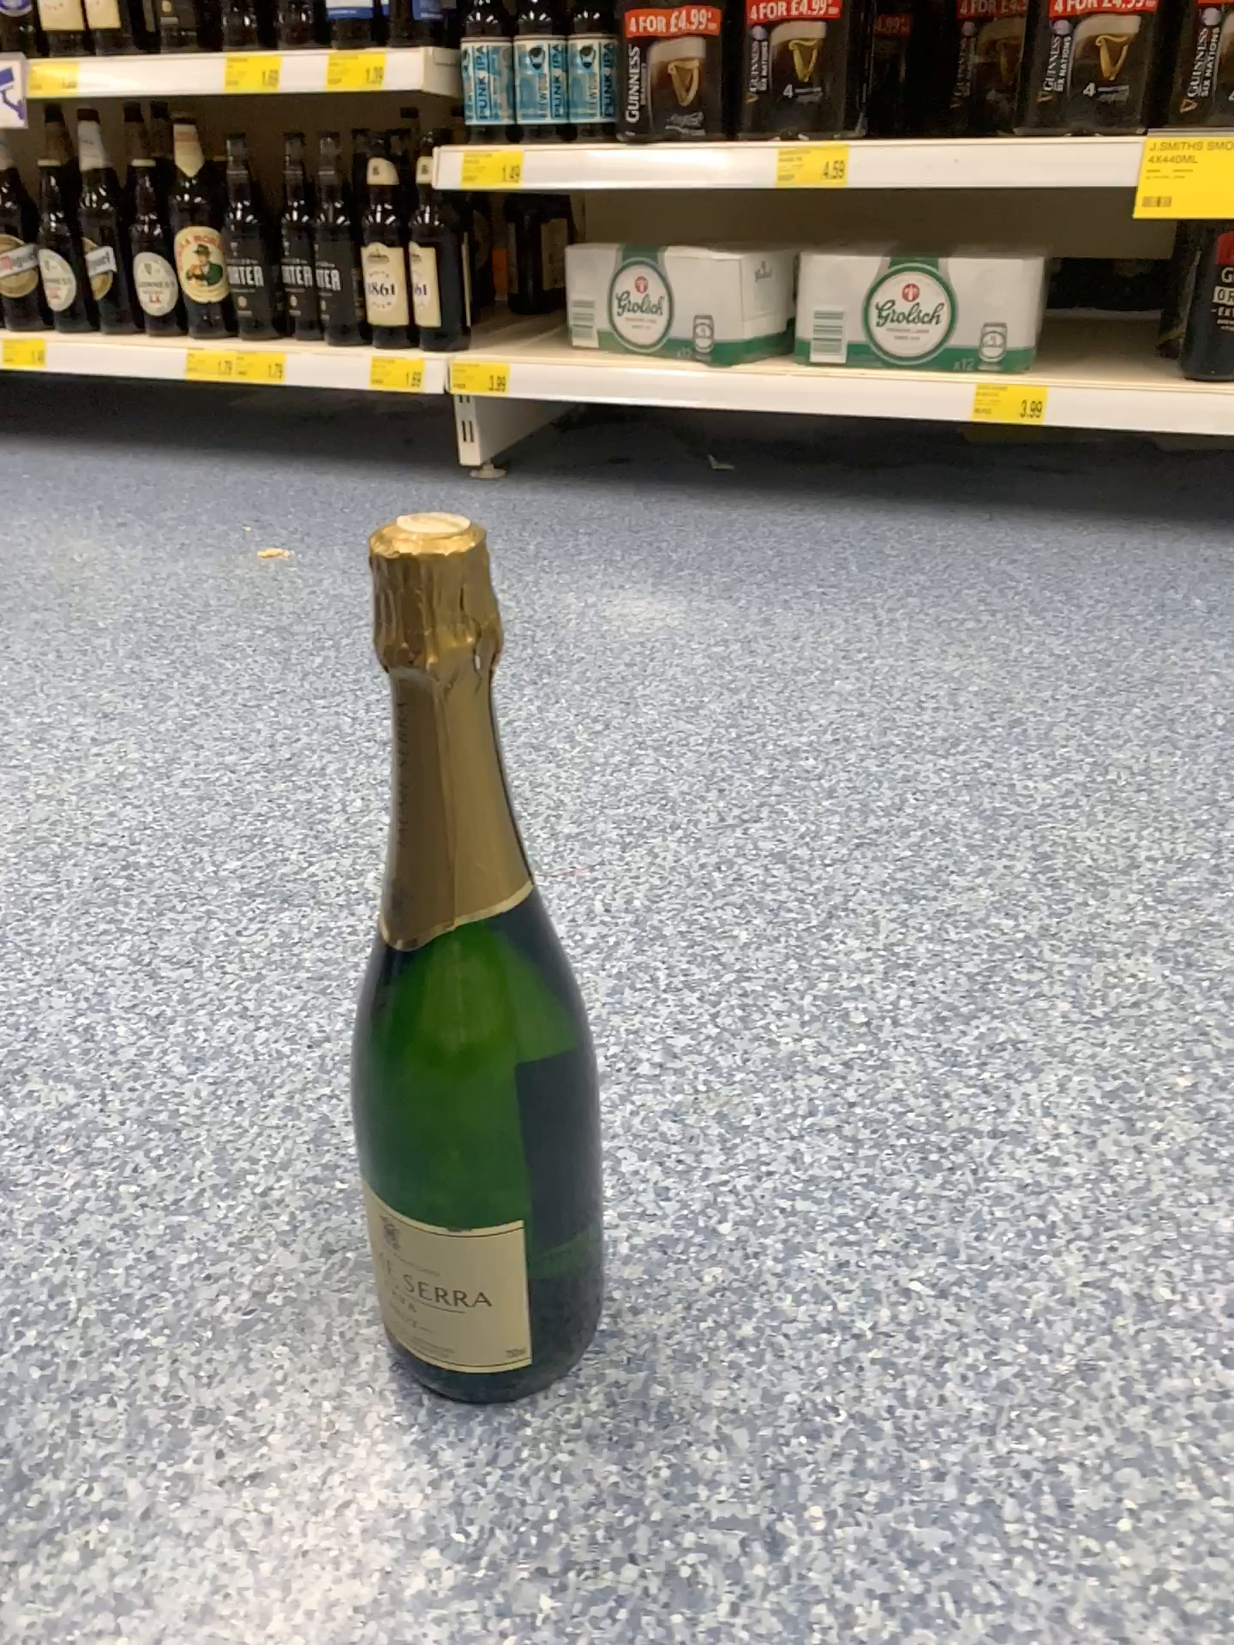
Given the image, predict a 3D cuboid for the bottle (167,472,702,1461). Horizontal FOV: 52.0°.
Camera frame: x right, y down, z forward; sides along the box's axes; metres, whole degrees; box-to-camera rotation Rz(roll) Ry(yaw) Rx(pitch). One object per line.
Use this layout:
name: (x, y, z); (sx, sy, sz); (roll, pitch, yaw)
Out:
bottle: (-0.047, 0.049, 0.419); (0.104, 0.292, 0.105); (-1, 28, 0)
